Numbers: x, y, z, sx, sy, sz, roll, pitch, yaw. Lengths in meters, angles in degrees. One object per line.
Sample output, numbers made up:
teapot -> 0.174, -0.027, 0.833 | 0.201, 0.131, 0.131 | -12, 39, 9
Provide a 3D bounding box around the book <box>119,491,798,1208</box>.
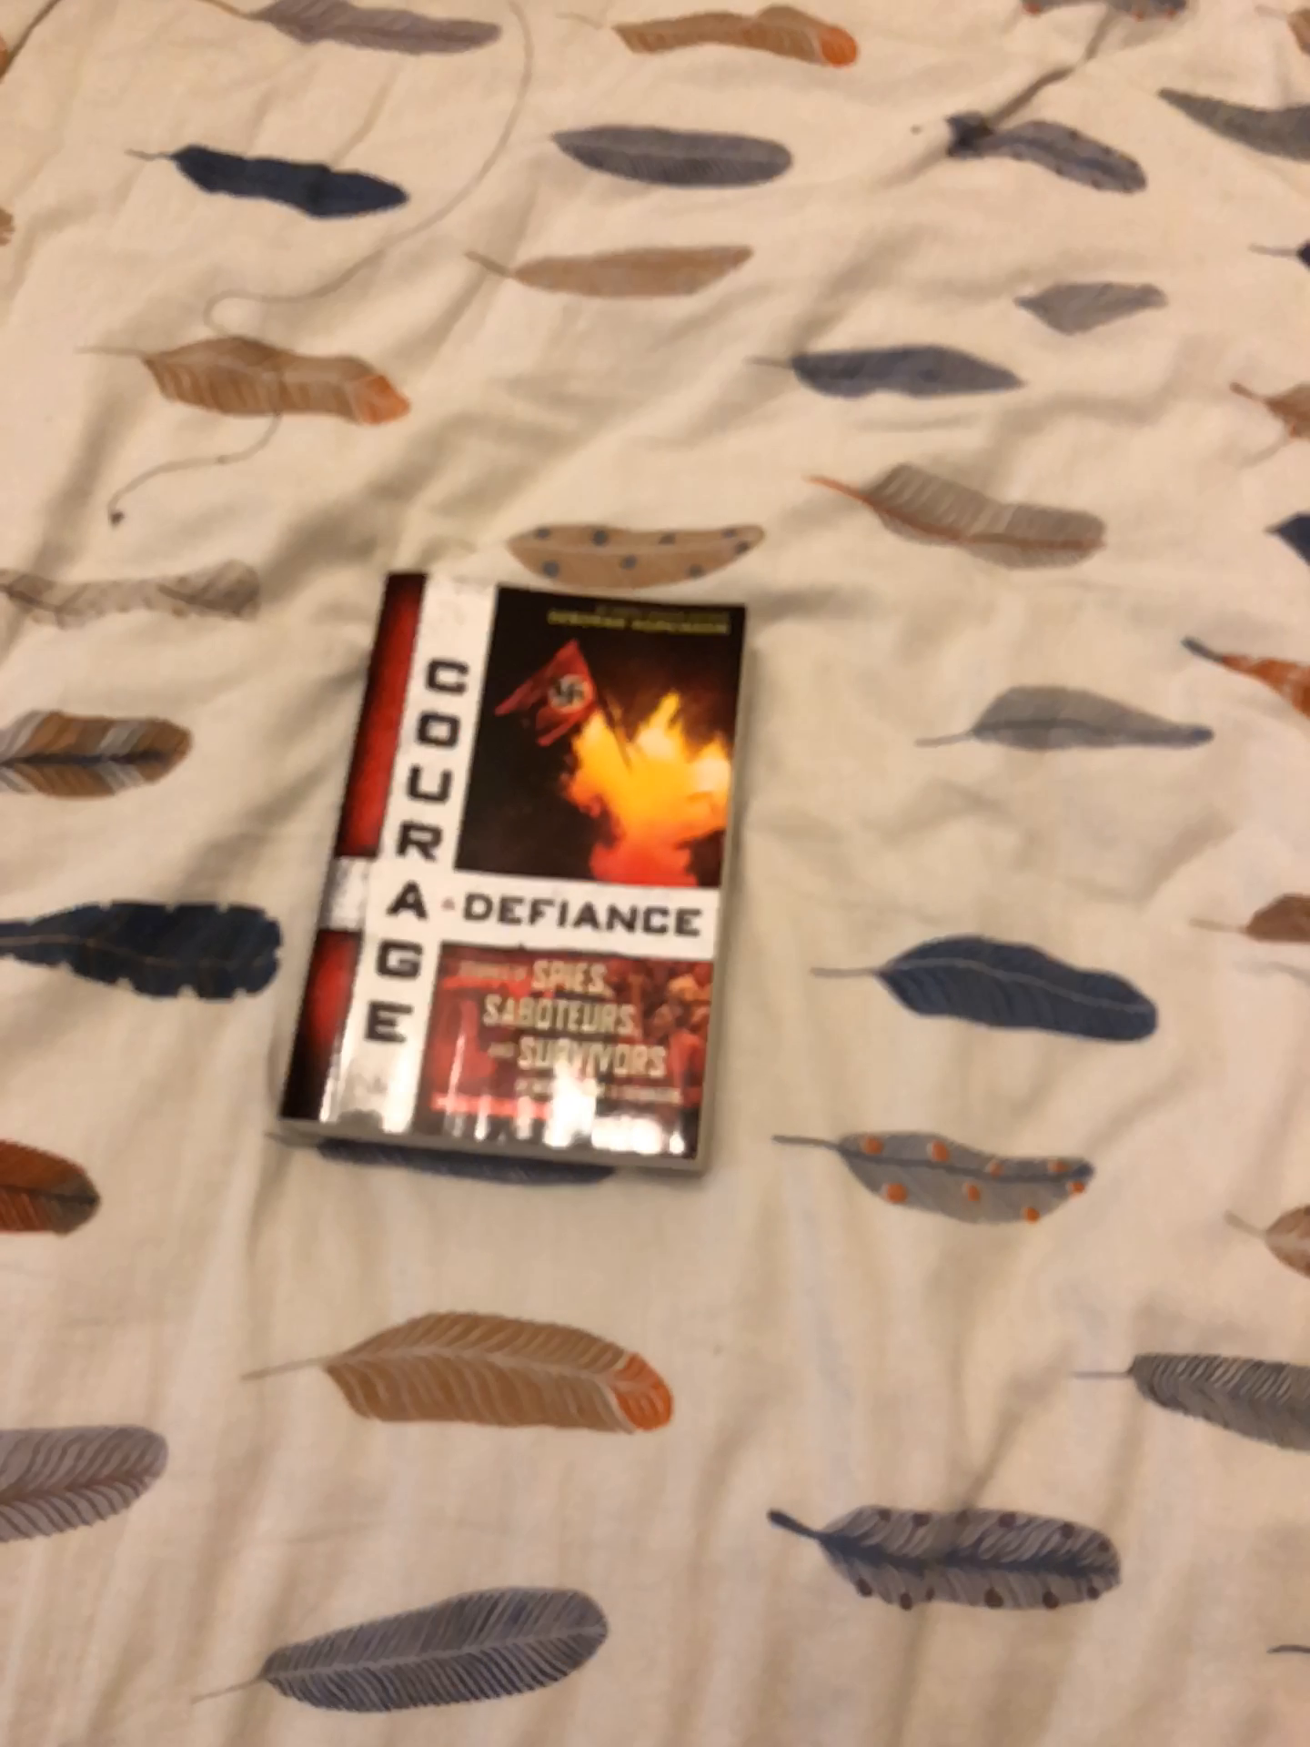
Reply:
book -> -0.055, -0.013, 0.497 | 0.200, 0.020, 0.230 | 6, 70, -5
